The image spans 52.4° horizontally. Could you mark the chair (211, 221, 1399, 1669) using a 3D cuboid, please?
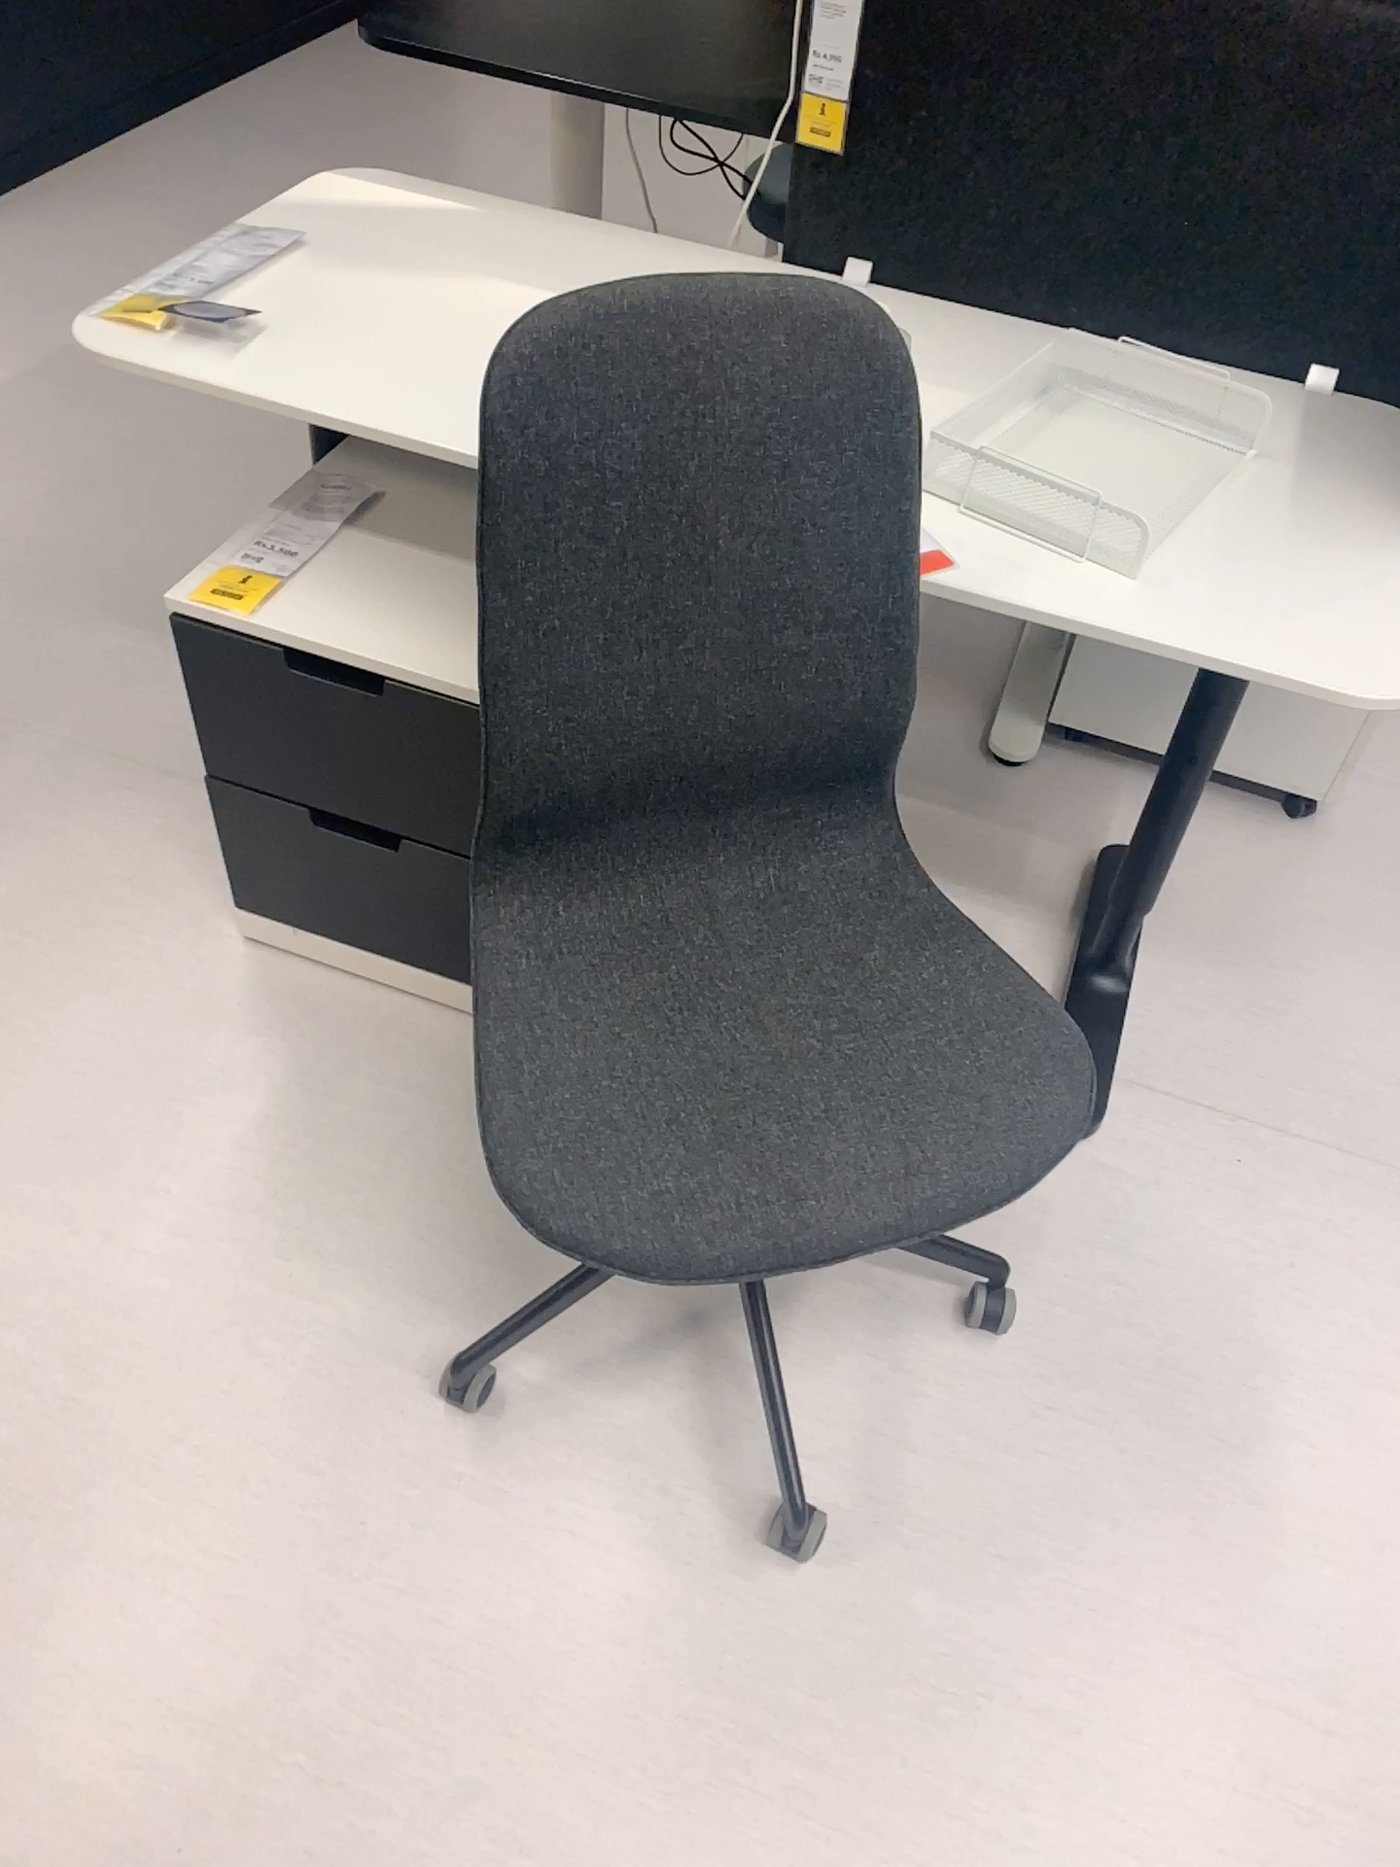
[{"bbox_3d":[0.031,0.042,1.245,0.630,0.997,0.642,-13,49,-18],"label":"chair"}]
